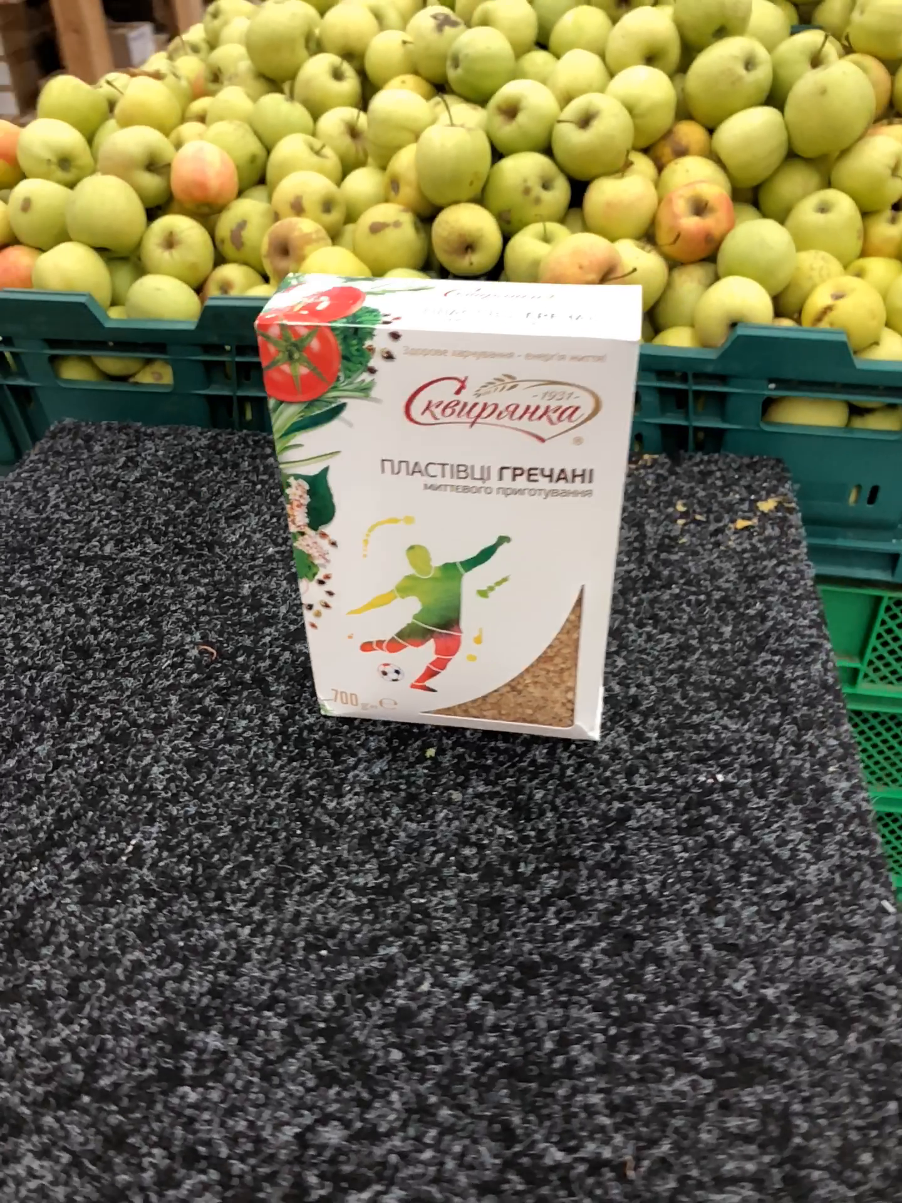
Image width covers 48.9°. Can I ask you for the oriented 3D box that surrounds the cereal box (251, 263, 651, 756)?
[{"bbox_3d":[0.005,-0.035,0.490,0.160,0.238,0.060,5,40,8],"label":"cereal box"}]
